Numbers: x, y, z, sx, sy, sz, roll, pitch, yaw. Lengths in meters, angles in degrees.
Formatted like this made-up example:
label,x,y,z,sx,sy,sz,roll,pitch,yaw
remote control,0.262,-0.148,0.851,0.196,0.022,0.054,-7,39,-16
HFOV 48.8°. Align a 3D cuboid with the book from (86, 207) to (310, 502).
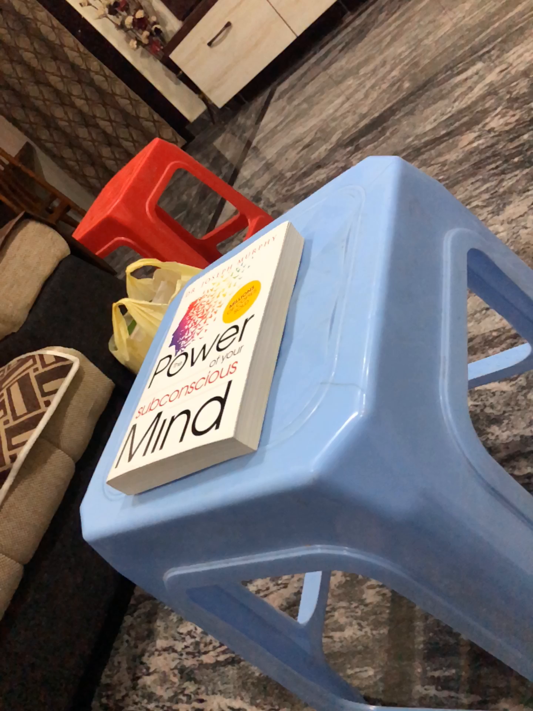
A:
label,x,y,z,sx,sy,sz,roll,pitch,yaw
book,-0.045,-0.004,0.427,0.140,0.030,0.200,-27,34,39
